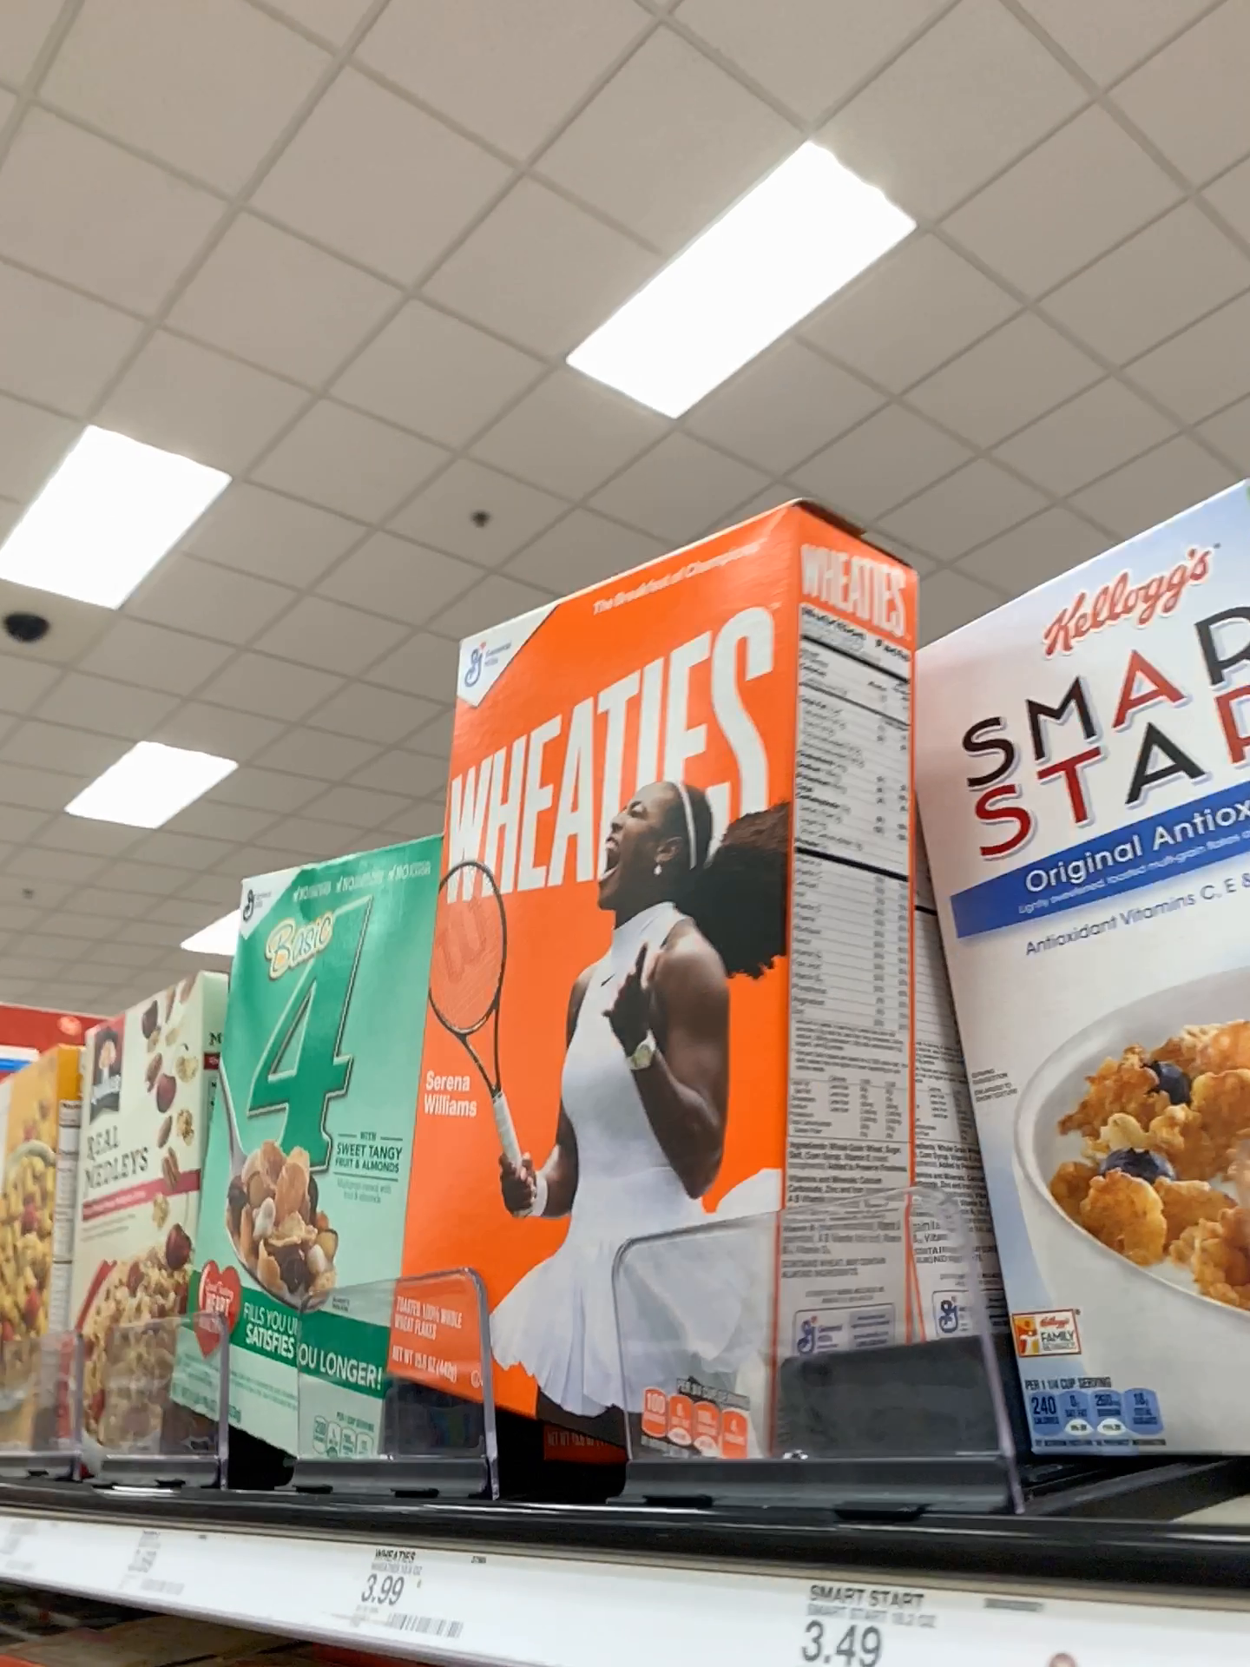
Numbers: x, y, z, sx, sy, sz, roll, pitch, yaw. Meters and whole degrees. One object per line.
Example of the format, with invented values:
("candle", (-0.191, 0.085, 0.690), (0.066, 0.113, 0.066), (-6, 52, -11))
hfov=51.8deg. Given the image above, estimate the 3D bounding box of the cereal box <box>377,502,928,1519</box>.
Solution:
("cereal box", (0.005, 0.057, 0.466), (0.070, 0.291, 0.200), (14, -17, -39))
